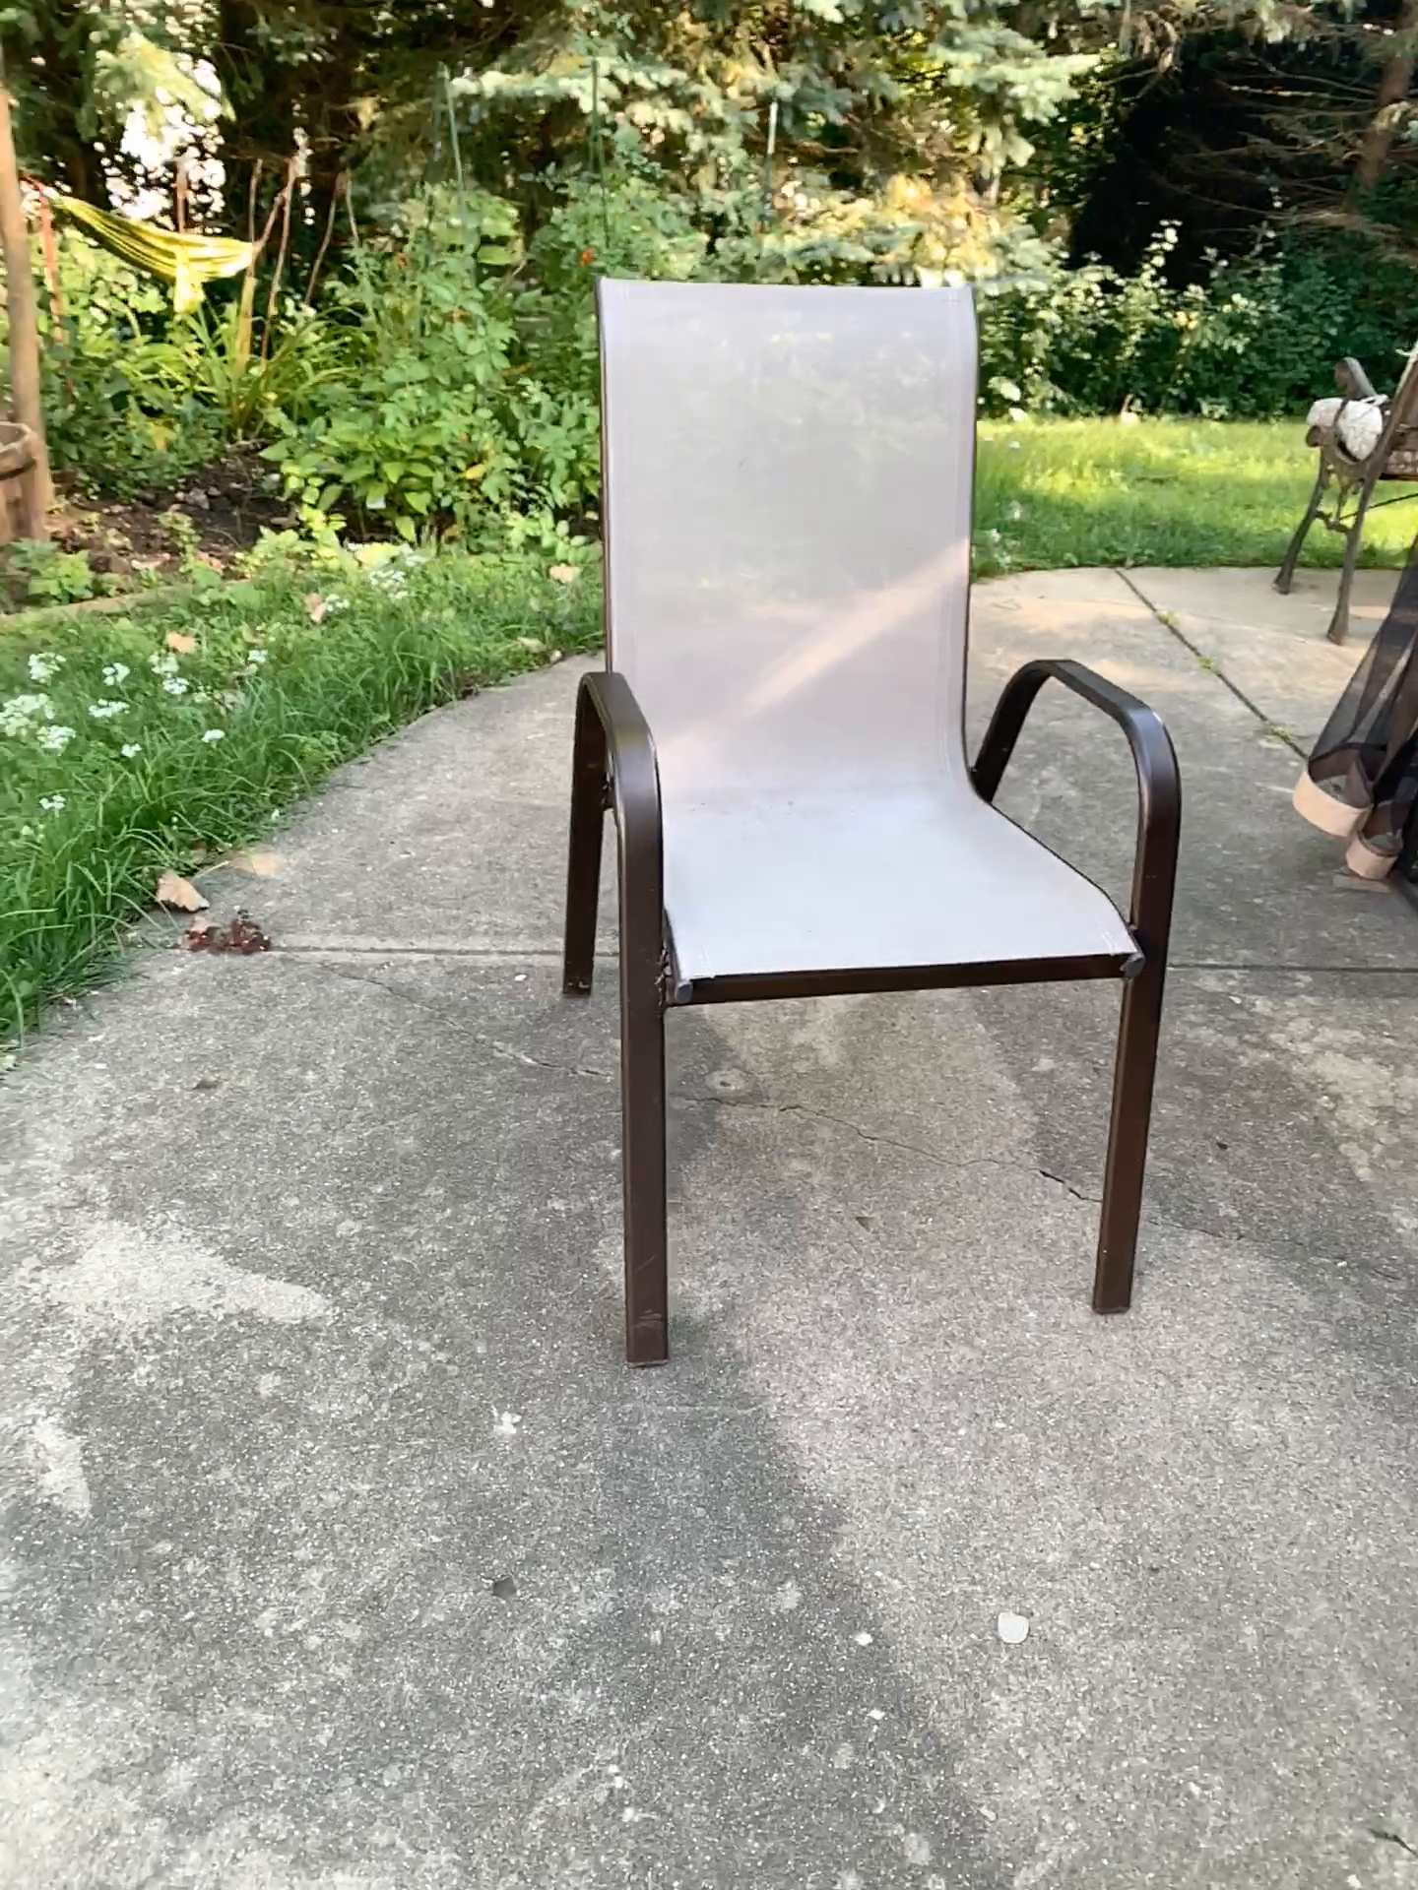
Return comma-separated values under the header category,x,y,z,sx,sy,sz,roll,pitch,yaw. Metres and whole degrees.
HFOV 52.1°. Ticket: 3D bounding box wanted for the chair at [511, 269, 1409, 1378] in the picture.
category,x,y,z,sx,sy,sz,roll,pitch,yaw
chair,0.117,-0.171,1.482,0.570,0.845,0.745,-3,32,-10
